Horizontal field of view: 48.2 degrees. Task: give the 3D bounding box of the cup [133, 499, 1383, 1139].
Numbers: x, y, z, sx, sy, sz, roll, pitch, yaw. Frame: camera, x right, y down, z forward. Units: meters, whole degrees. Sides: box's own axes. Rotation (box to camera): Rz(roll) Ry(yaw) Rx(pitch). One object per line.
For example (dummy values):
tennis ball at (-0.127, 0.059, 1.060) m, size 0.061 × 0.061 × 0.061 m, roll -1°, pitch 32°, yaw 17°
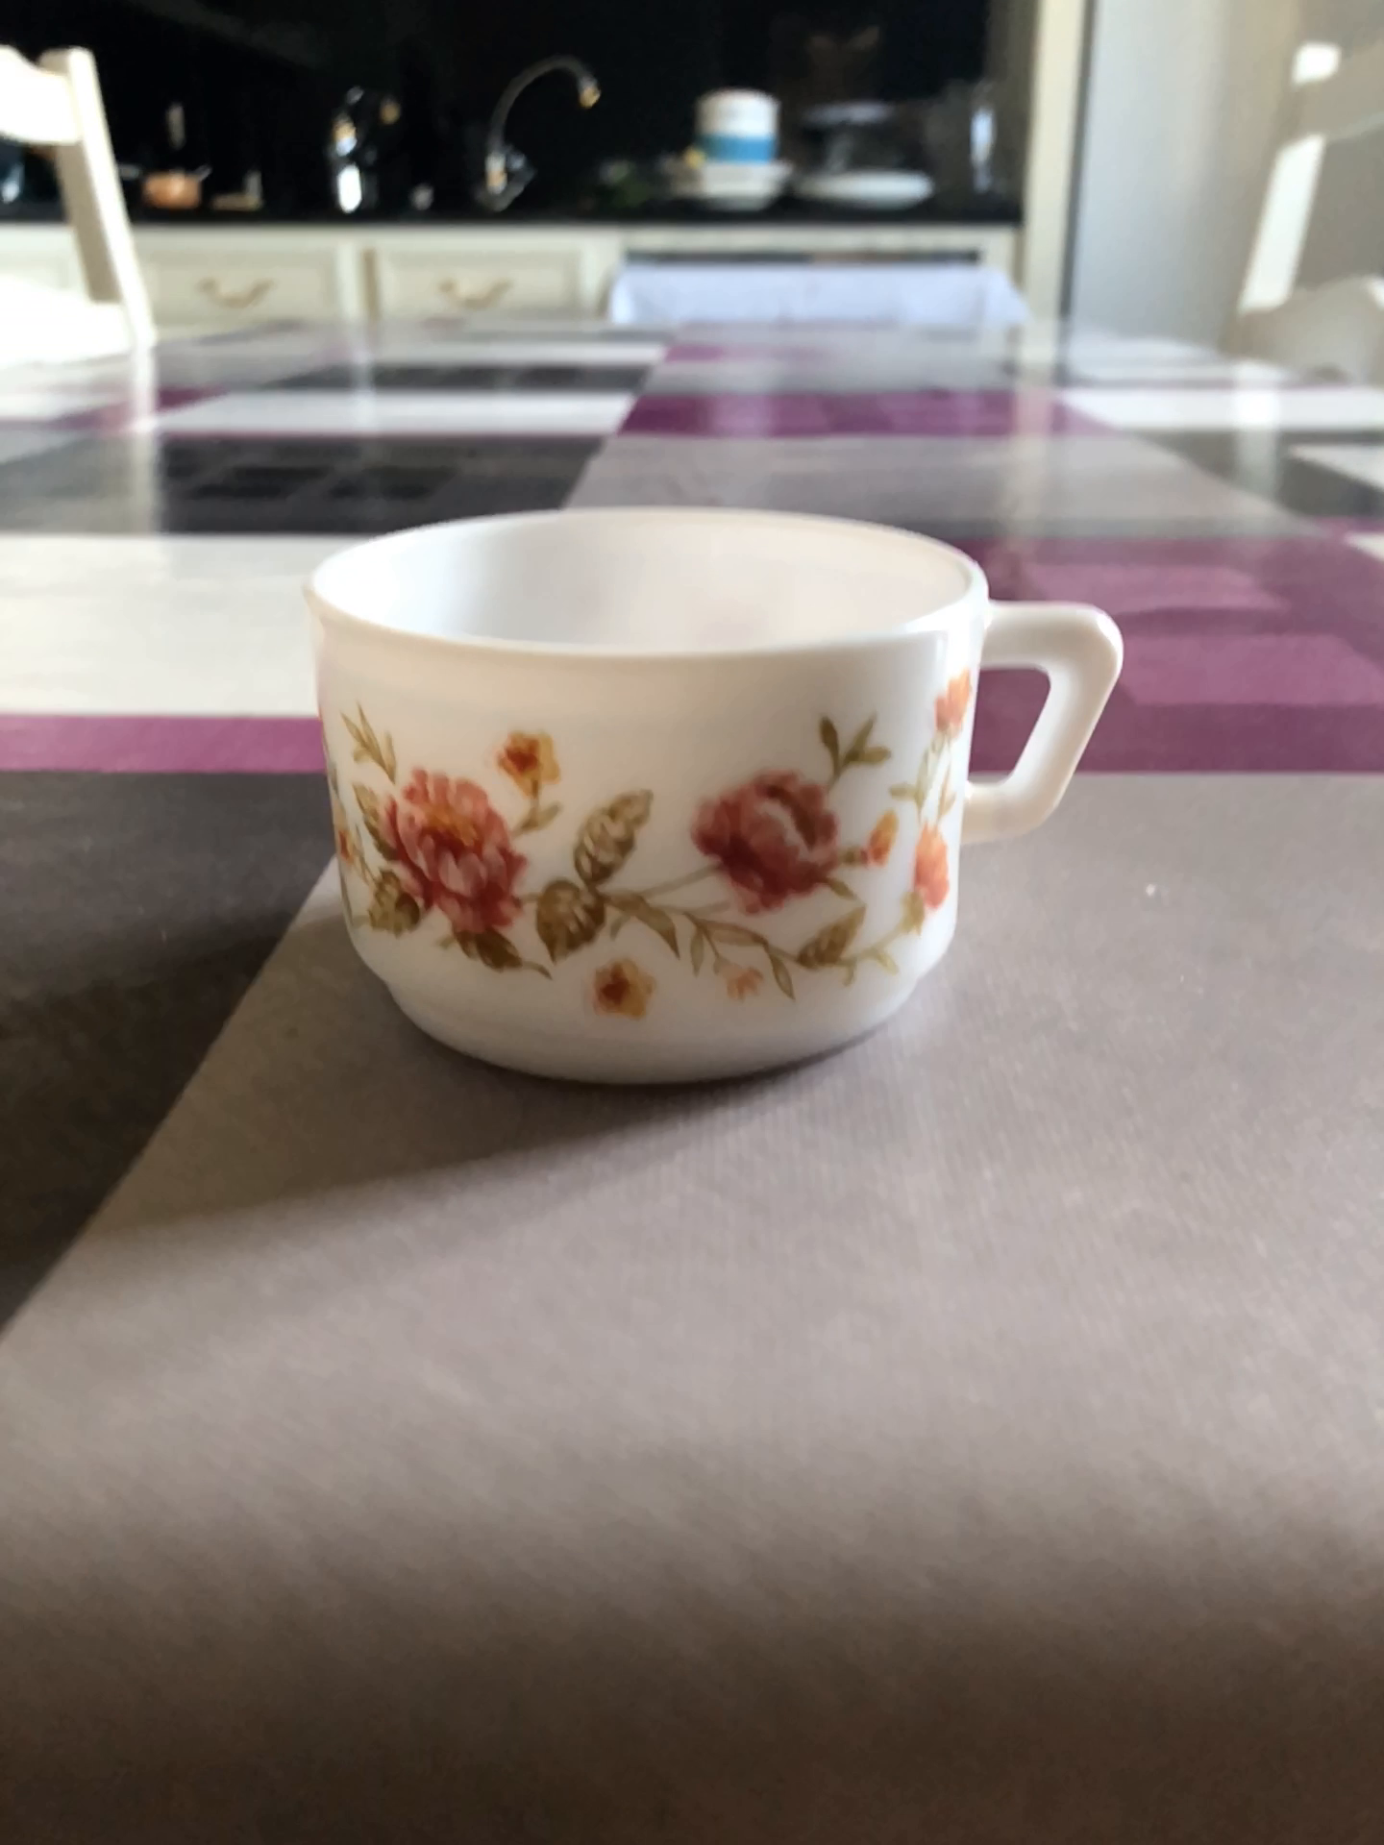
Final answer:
cup at (0.006, -0.018, 0.181) m, size 0.110 × 0.050 × 0.080 m, roll 0°, pitch 23°, yaw -1°
